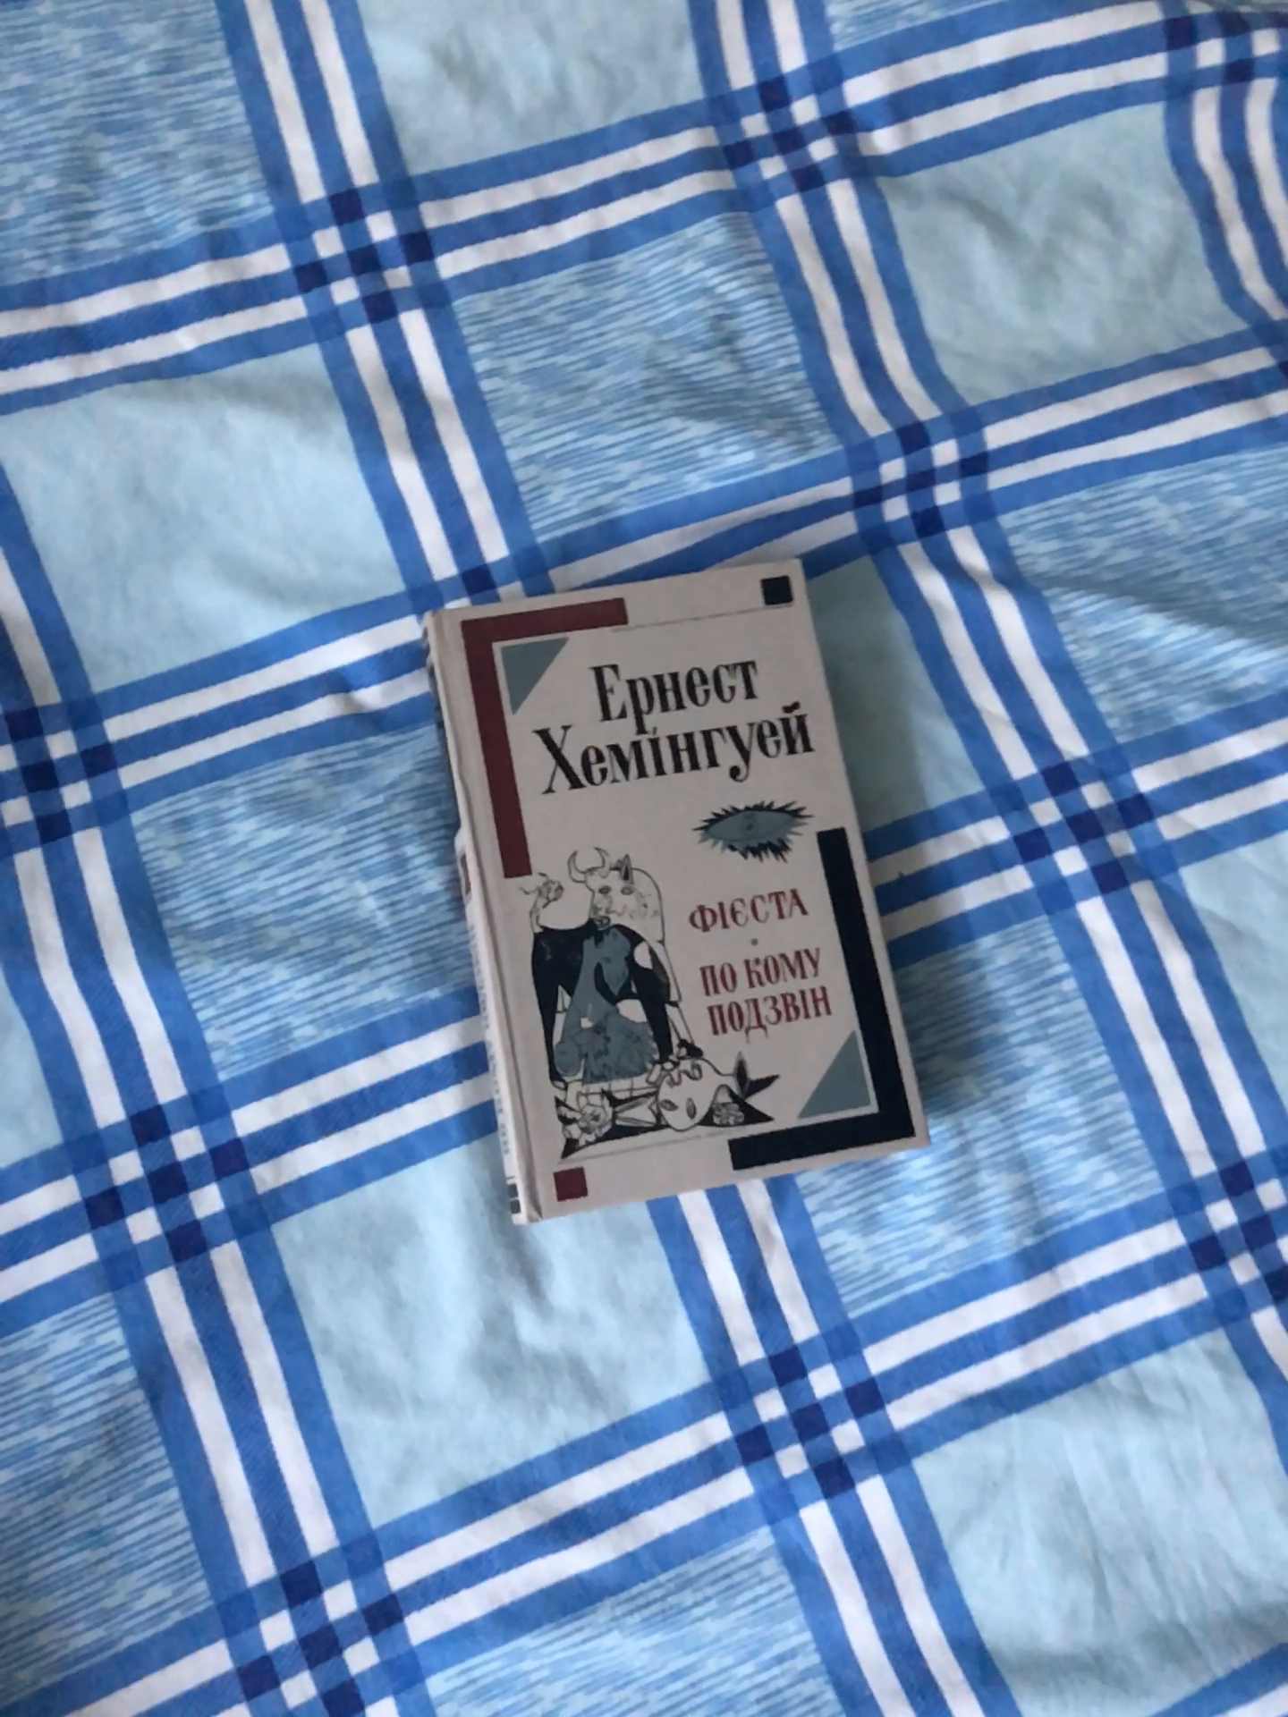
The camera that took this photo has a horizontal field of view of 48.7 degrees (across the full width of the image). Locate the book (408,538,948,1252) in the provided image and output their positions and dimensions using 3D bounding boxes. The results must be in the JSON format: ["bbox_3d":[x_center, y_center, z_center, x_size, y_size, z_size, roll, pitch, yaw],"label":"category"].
[{"bbox_3d":[0.007,0.009,0.490,0.142,0.040,0.220,-9,78,-5],"label":"book"}]
